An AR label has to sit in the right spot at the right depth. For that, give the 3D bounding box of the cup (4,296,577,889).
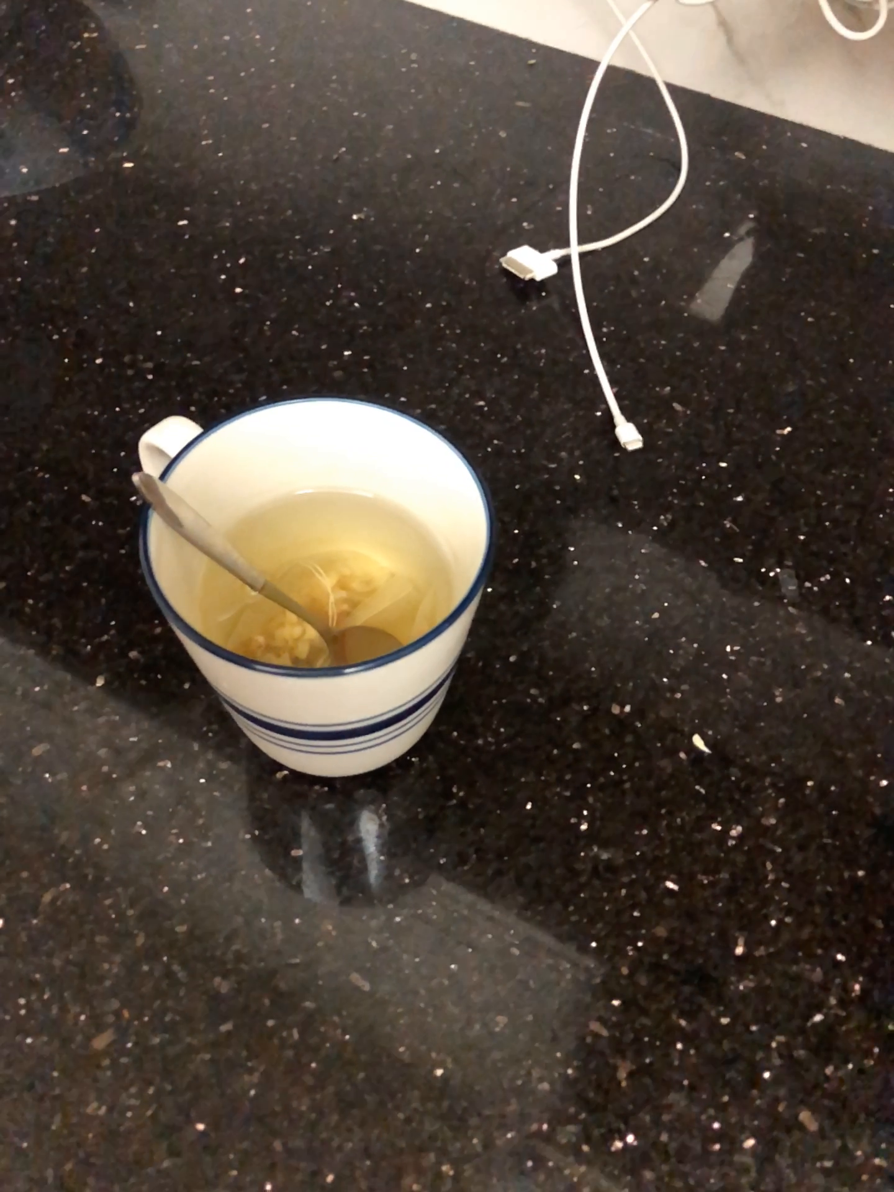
[{"bbox_3d":[-0.041,-0.001,0.279,0.120,0.090,0.080,40,64,21],"label":"cup"}]
